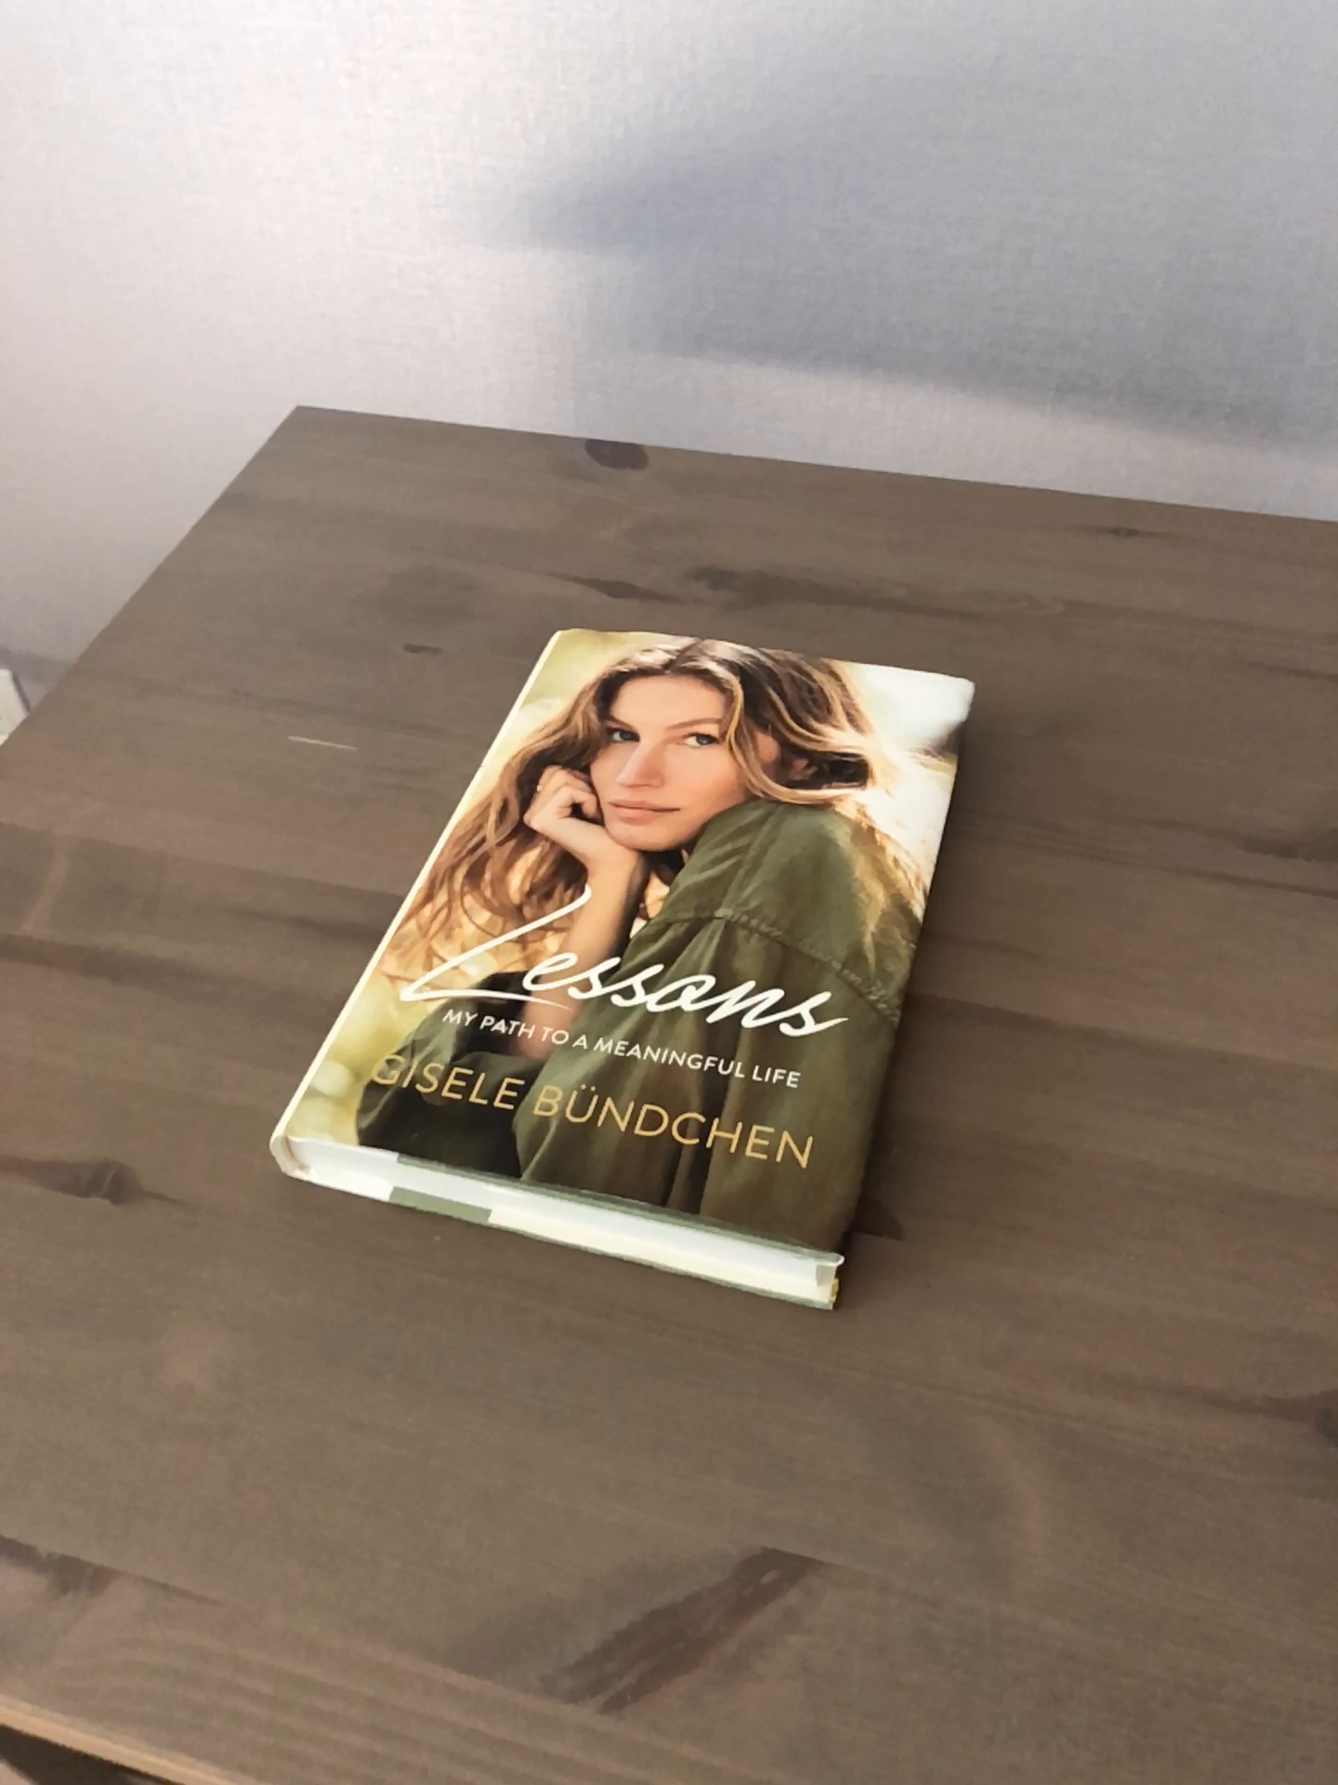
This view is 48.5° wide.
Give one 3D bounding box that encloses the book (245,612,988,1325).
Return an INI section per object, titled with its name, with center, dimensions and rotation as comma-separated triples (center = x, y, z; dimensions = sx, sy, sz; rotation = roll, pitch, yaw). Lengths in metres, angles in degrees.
[book]
center = 0.000, 0.003, 0.450
dimensions = 0.160, 0.030, 0.228
rotation = 10, 47, 12
